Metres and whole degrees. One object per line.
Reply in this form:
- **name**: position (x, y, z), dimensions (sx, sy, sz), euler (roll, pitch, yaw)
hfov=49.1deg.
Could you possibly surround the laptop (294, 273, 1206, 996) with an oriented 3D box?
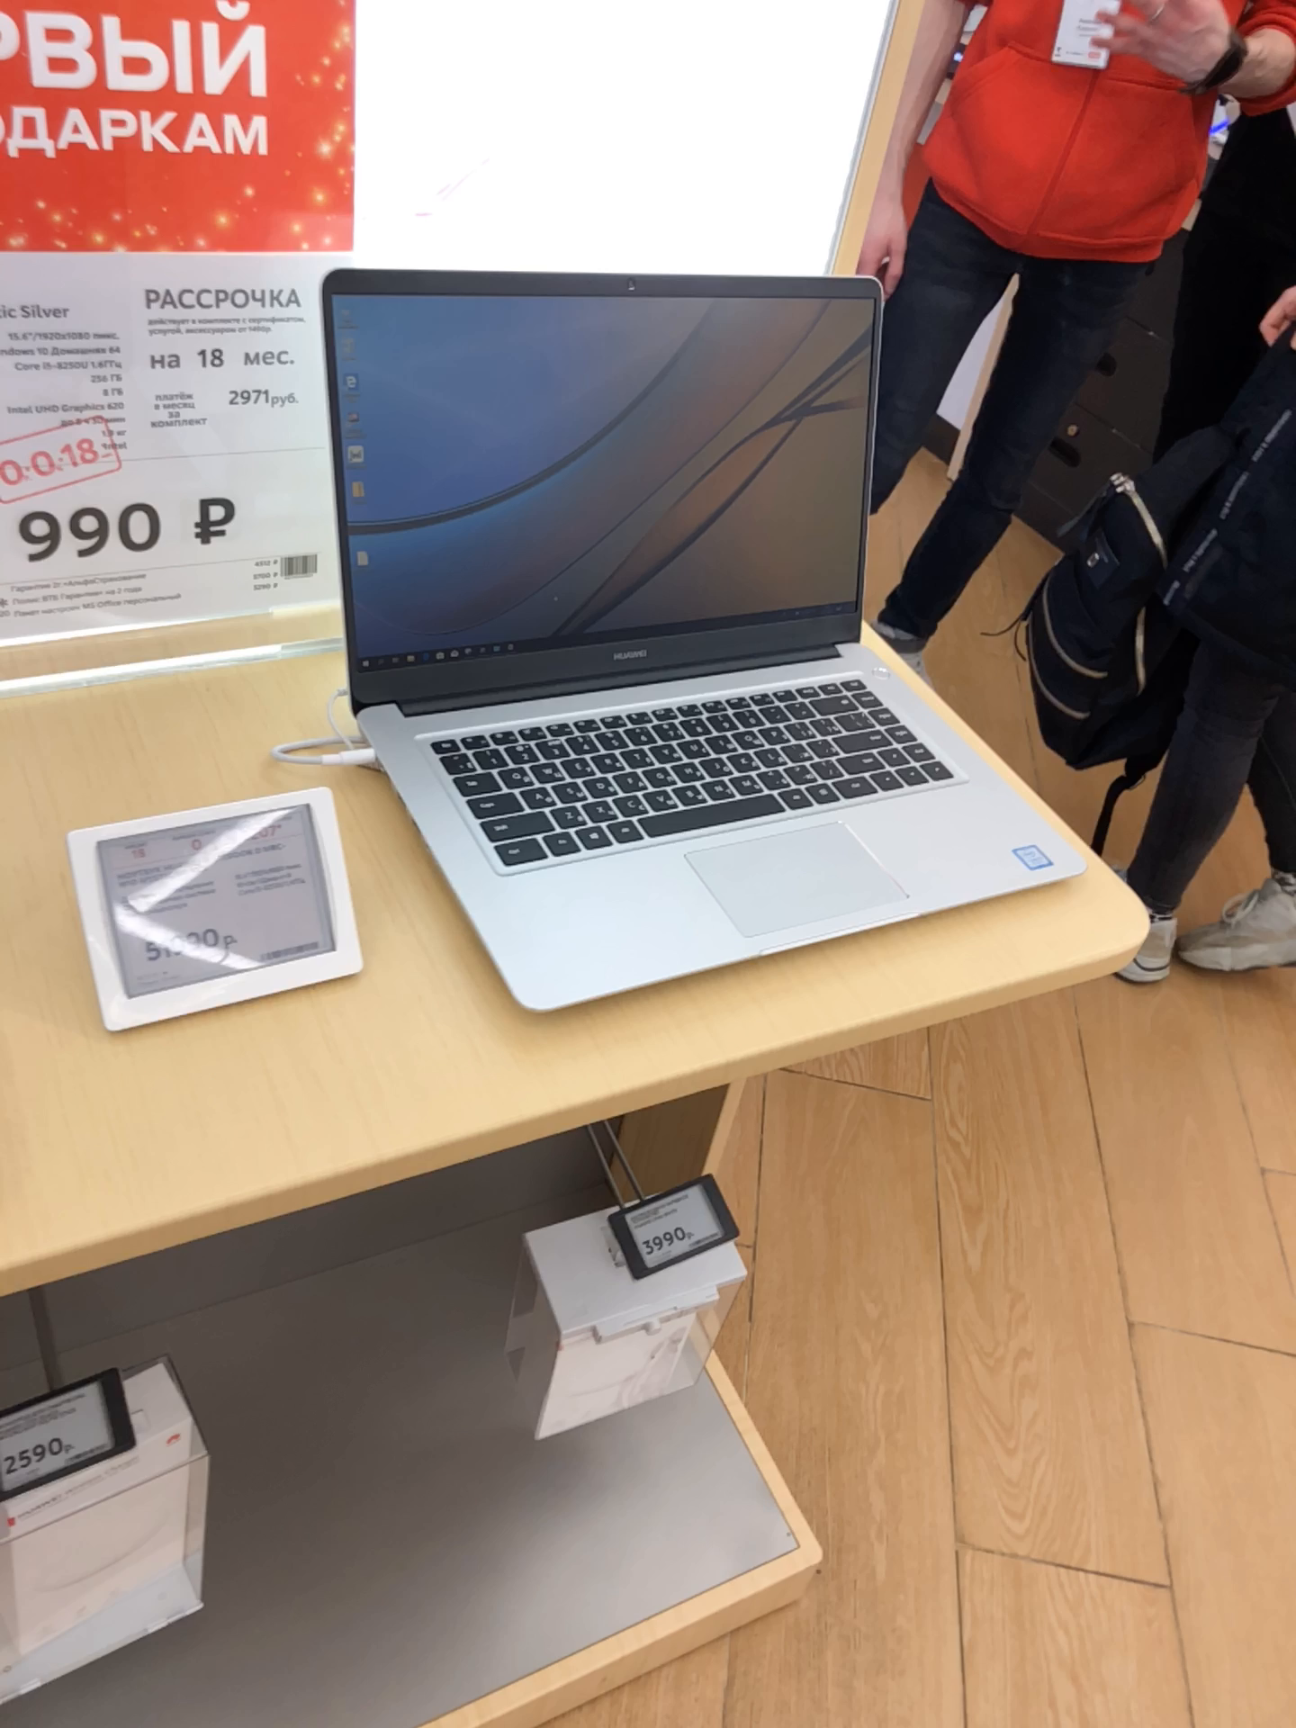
- **laptop**: position (0.029, -0.145, 0.746), dimensions (0.341, 0.204, 0.307), euler (-12, 46, -29)
